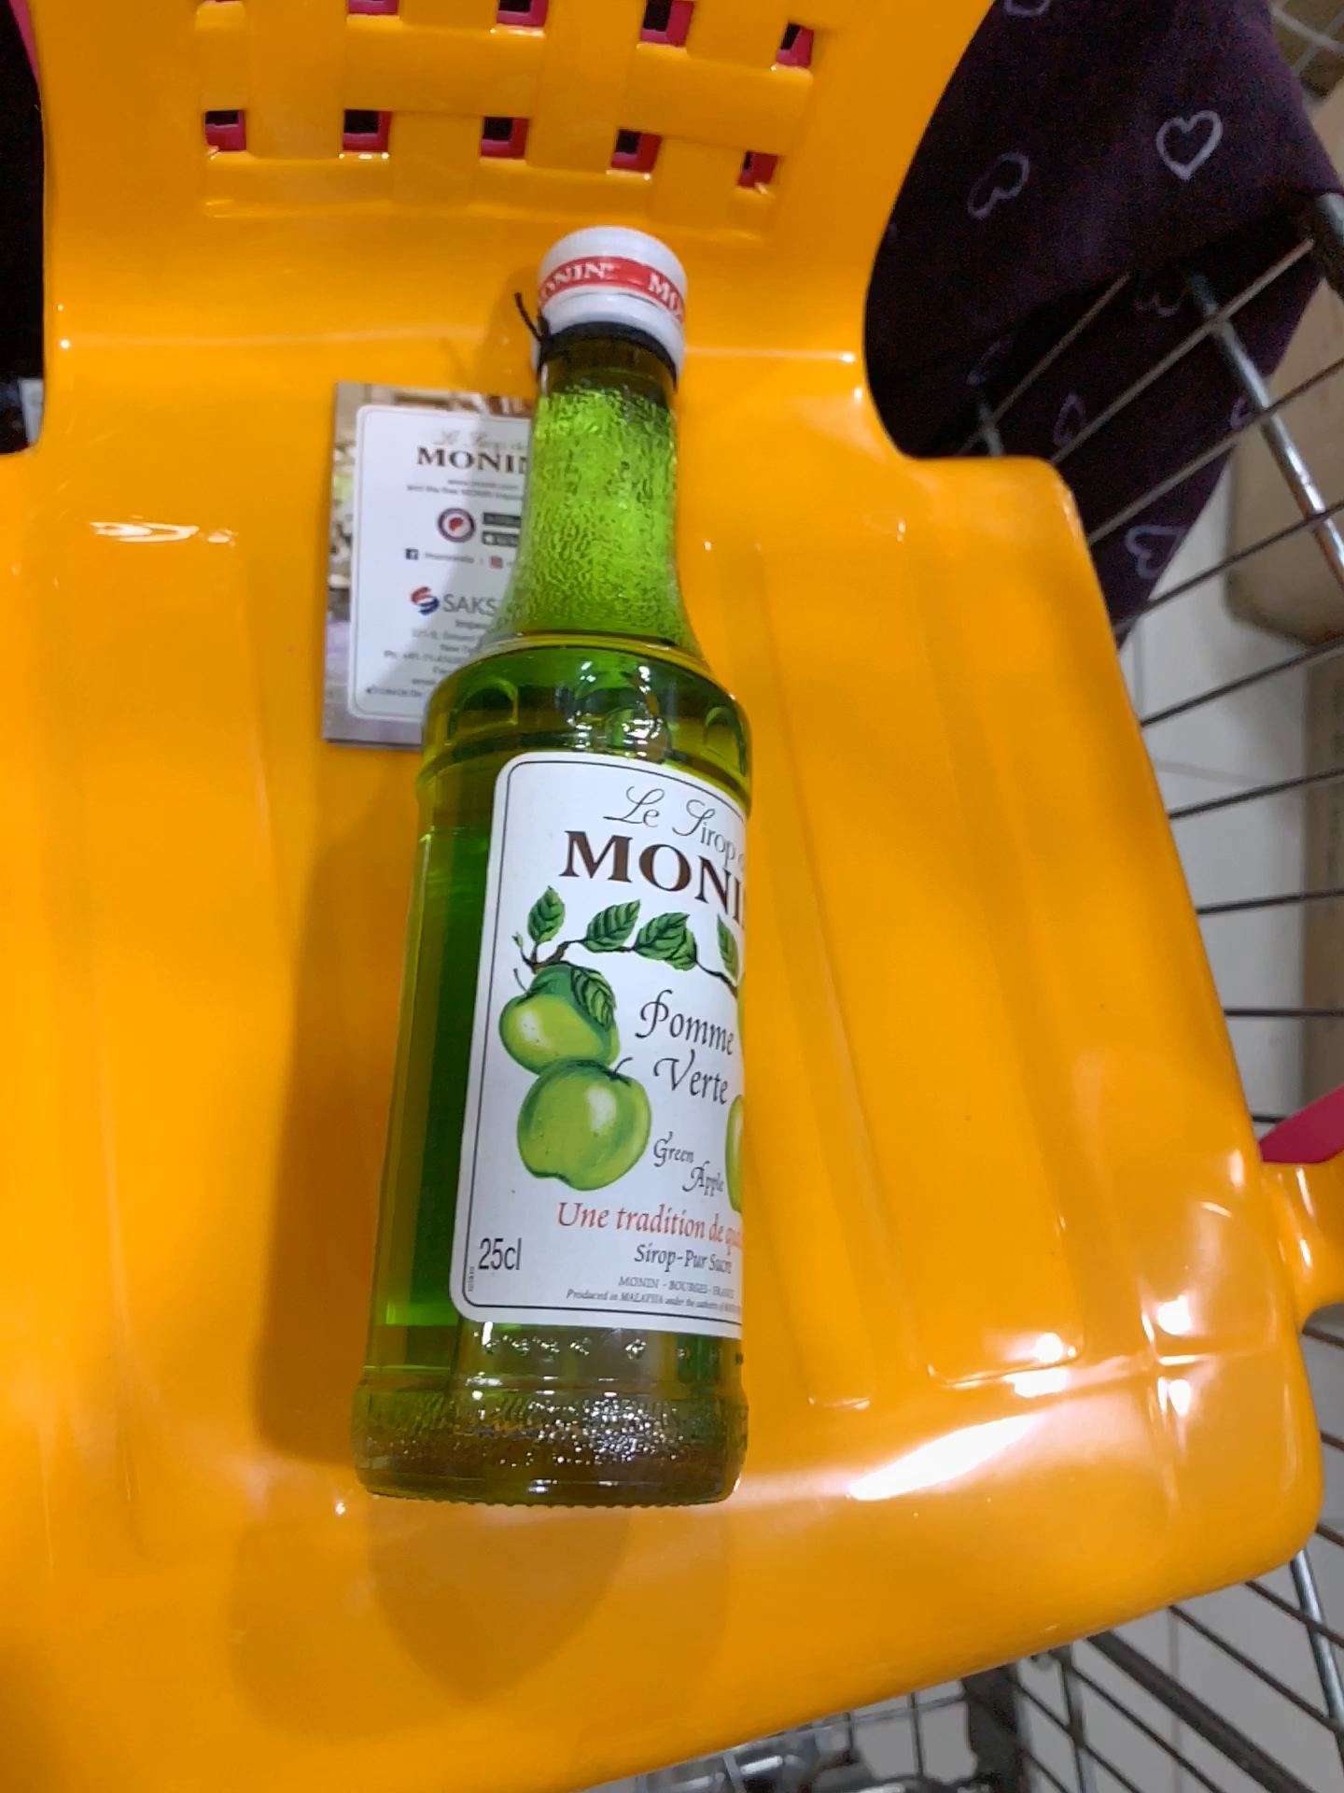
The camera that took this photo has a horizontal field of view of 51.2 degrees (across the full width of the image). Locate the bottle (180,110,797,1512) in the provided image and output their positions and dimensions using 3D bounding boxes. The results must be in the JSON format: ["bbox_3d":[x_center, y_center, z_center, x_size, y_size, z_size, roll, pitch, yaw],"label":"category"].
[{"bbox_3d":[-0.022,-0.018,0.243,0.060,0.060,0.220,-6,70,27],"label":"bottle"}]

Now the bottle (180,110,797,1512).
[{"bbox_3d":[-0.022,-0.018,0.243,0.060,0.060,0.220,-6,70,27],"label":"bottle"}]
